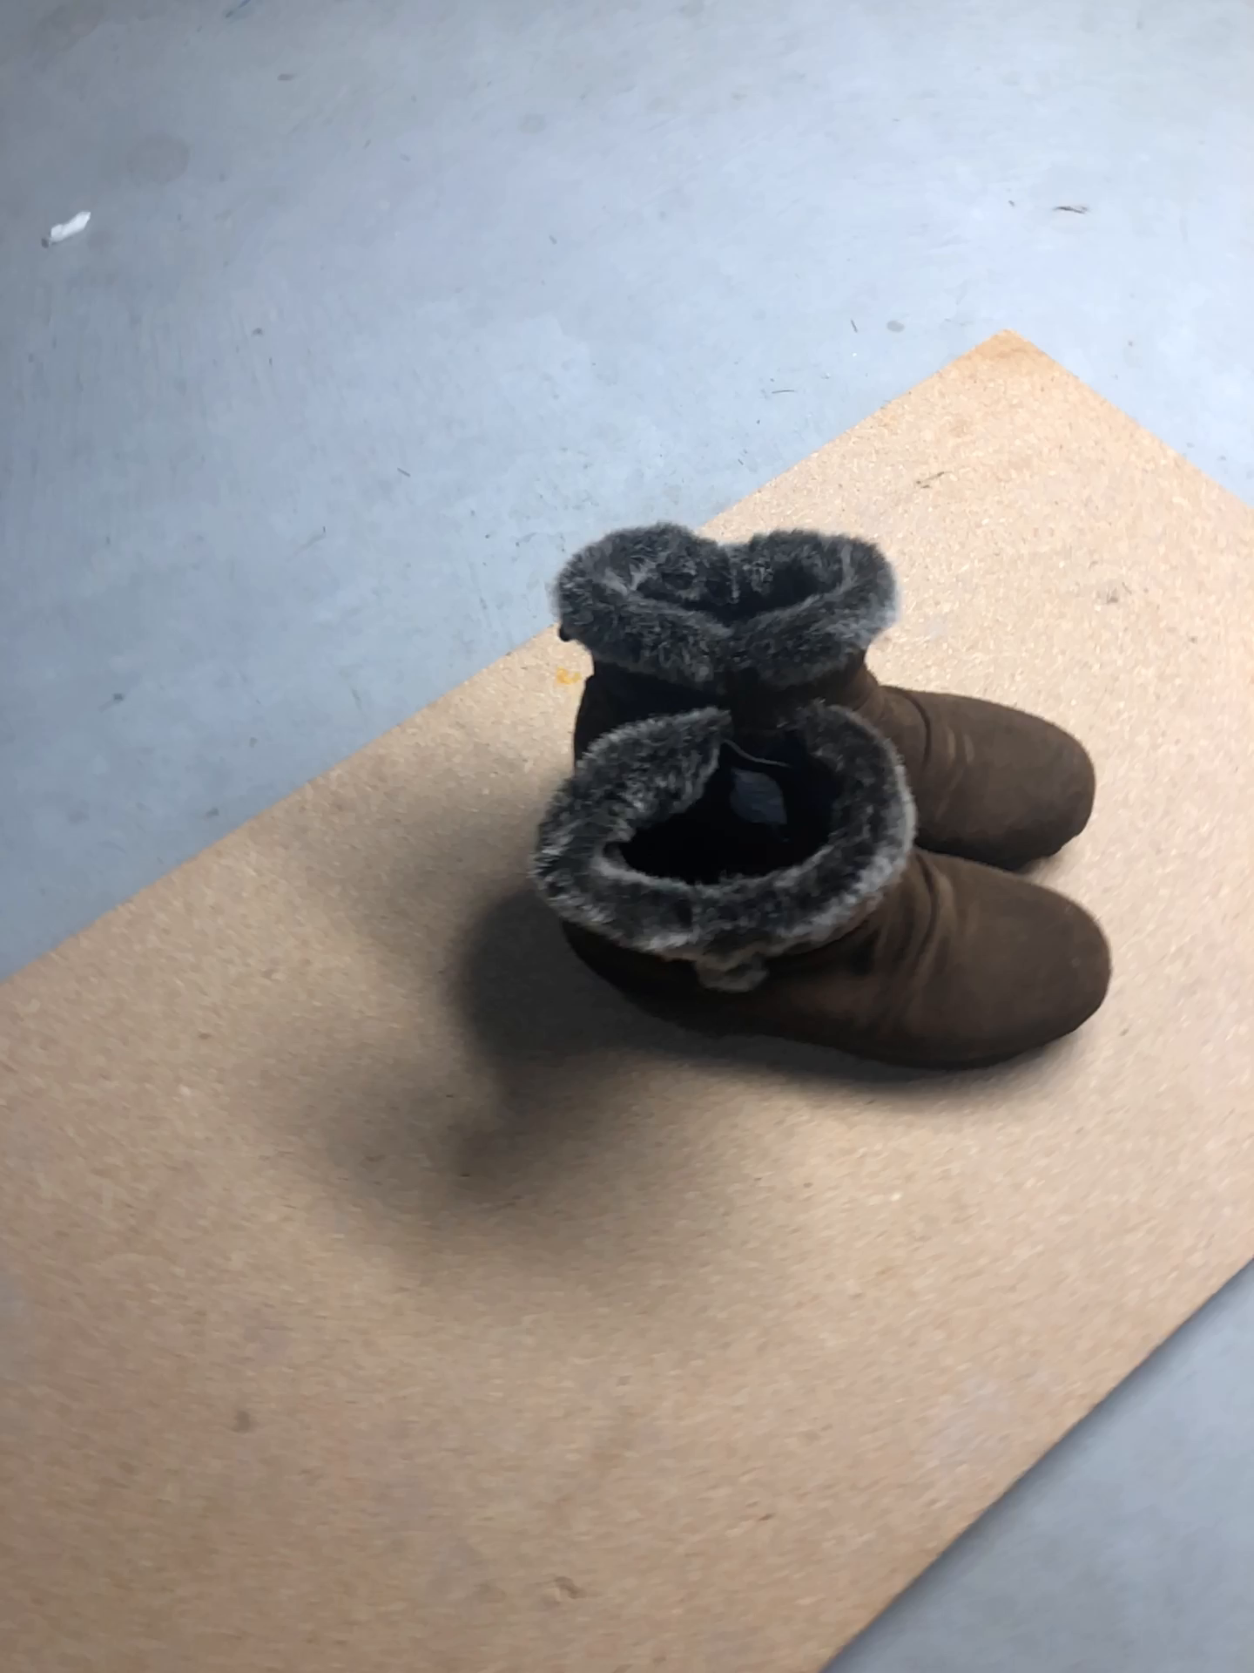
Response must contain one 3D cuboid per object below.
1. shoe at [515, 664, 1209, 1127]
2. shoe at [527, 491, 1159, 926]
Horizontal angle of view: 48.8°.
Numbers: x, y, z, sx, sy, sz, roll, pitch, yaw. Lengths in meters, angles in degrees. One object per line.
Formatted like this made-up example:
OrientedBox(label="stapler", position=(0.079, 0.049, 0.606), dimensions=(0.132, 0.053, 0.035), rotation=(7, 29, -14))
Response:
OrientedBox(label="shoe", position=(0.092, 0.037, 0.622), dimensions=(0.250, 0.220, 0.100), rotation=(5, 62, 5))
OrientedBox(label="shoe", position=(0.096, -0.055, 0.684), dimensions=(0.260, 0.200, 0.100), rotation=(5, 62, 5))
